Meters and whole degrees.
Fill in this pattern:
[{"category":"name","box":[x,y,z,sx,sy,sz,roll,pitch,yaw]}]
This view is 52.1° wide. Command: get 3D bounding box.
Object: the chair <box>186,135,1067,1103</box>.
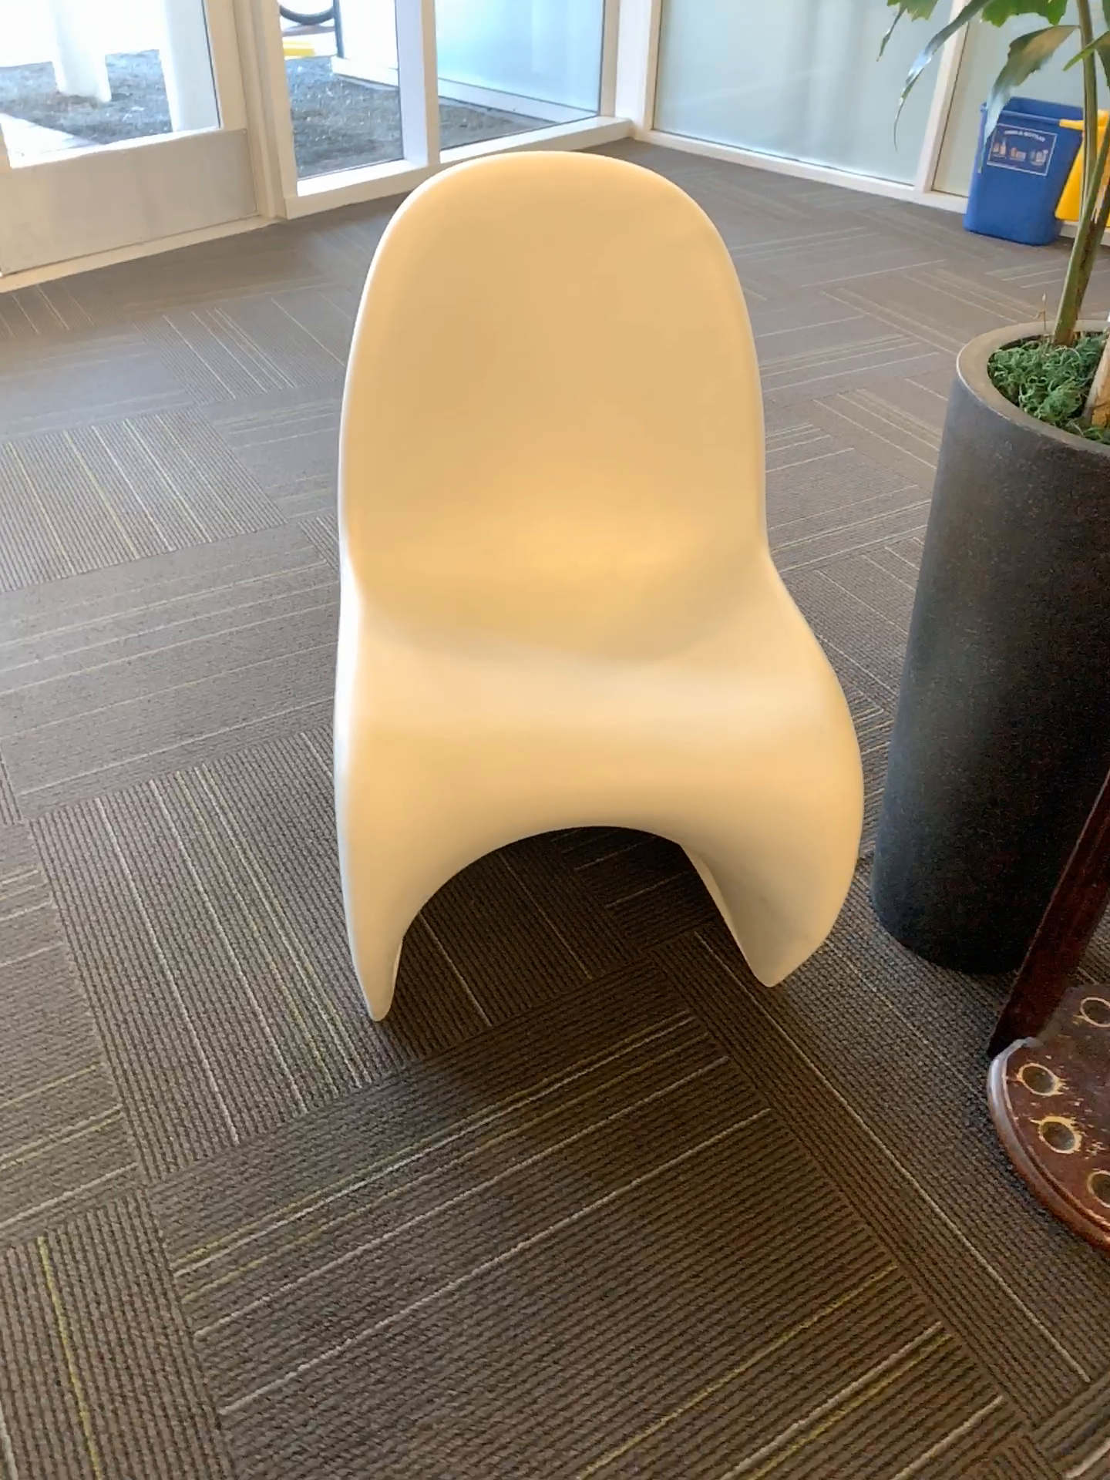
[{"category":"chair","box":[-0.003,-0.151,1.232,0.600,0.775,0.584,-10,41,-15]}]
